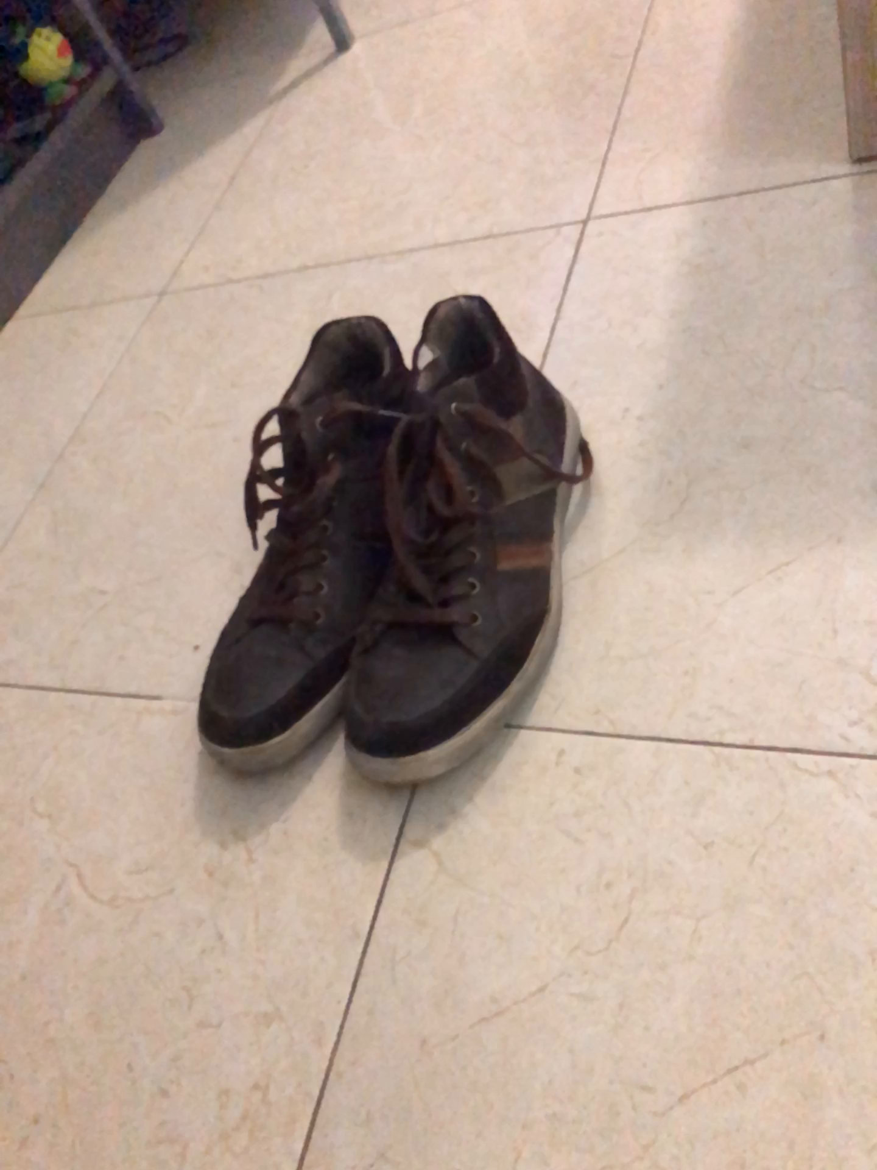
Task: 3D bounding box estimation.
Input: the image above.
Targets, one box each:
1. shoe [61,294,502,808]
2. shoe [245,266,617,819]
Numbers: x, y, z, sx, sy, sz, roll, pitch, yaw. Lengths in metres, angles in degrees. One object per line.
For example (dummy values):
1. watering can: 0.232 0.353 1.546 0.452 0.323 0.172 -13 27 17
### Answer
1. shoe: -0.080 -0.033 0.610 0.120 0.110 0.300 5 57 31
2. shoe: 0.014 -0.032 0.563 0.120 0.110 0.301 -3 53 25
